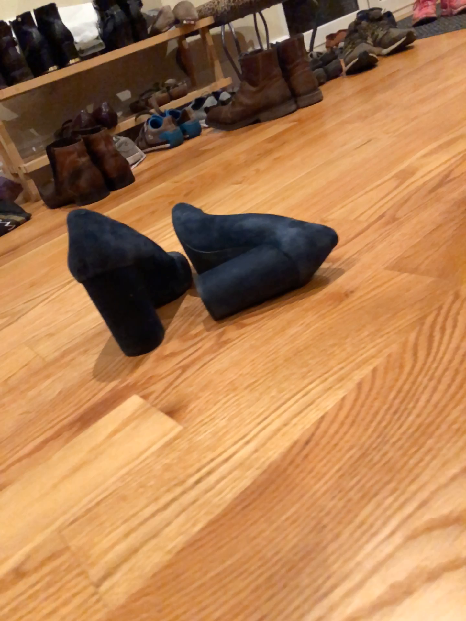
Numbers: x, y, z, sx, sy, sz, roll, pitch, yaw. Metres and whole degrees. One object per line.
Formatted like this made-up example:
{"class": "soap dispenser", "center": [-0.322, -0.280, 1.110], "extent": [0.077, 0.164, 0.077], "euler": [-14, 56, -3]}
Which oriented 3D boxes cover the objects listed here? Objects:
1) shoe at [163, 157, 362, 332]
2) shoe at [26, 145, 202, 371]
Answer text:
{"class": "shoe", "center": [0.018, -0.084, 0.550], "extent": [0.152, 0.080, 0.205], "euler": [-22, 27, -1]}
{"class": "shoe", "center": [-0.106, -0.069, 0.546], "extent": [0.080, 0.146, 0.227], "euler": [-16, 27, 10]}
